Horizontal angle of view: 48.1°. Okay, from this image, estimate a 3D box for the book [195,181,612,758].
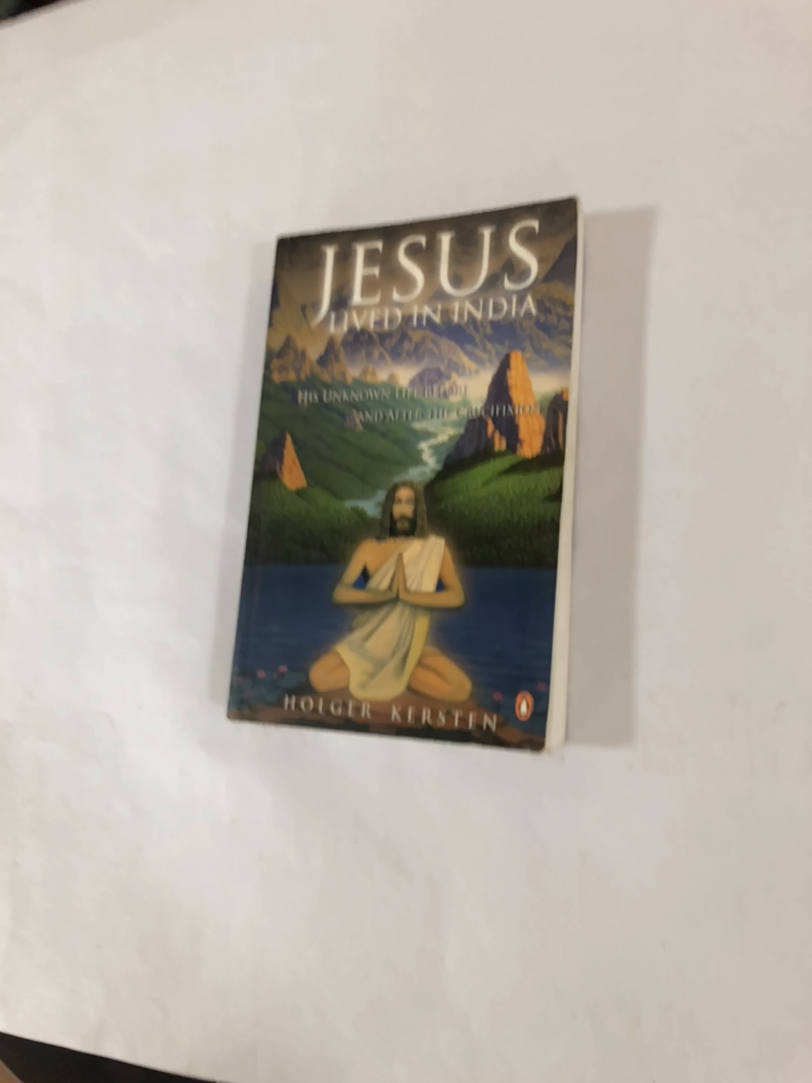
[{"bbox_3d":[-0.001,-0.029,0.365,0.150,0.030,0.210,1,80,23],"label":"book"}]
